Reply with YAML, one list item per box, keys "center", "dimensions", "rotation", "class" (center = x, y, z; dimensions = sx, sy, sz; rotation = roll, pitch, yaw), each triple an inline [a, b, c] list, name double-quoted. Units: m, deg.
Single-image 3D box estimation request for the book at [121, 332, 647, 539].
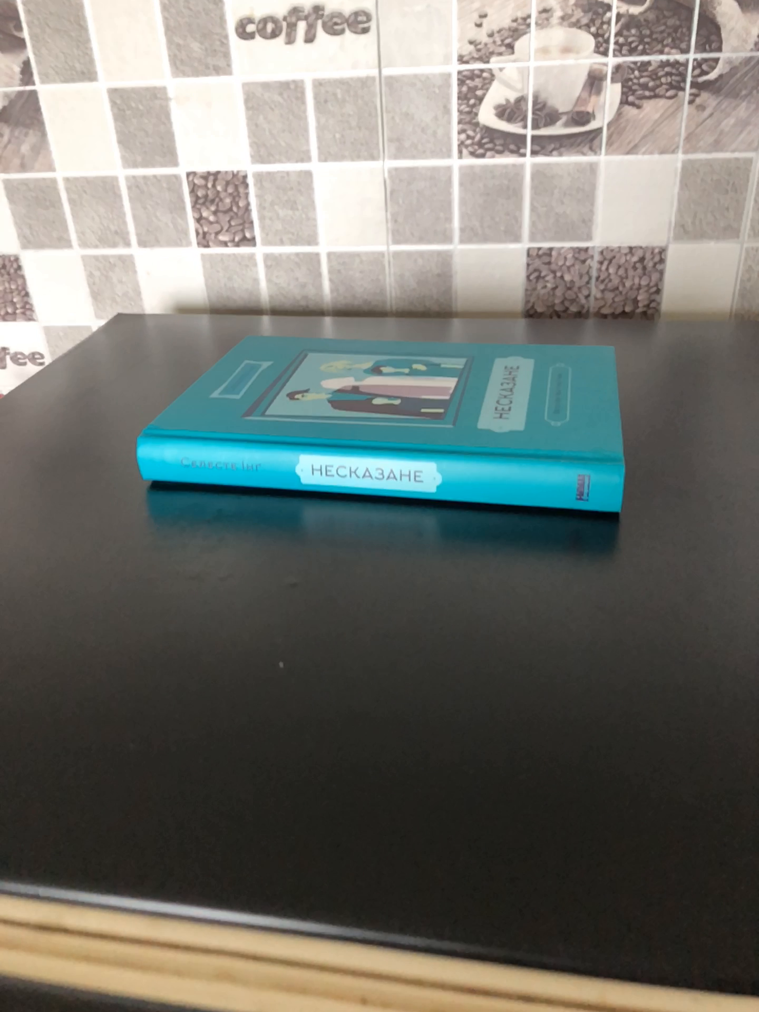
- center: [0.011, -0.045, 0.415]
  dimensions: [0.220, 0.030, 0.152]
  rotation: [4, 31, 11]
  class: "book"
